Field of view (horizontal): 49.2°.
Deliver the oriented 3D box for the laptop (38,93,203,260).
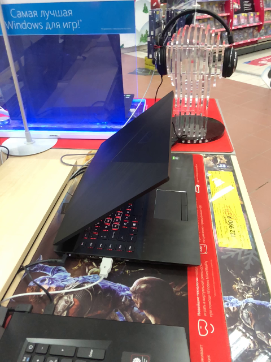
[{"bbox_3d":[0.003,-0.046,0.665,0.258,0.166,0.397,4,34,6],"label":"laptop"}]
